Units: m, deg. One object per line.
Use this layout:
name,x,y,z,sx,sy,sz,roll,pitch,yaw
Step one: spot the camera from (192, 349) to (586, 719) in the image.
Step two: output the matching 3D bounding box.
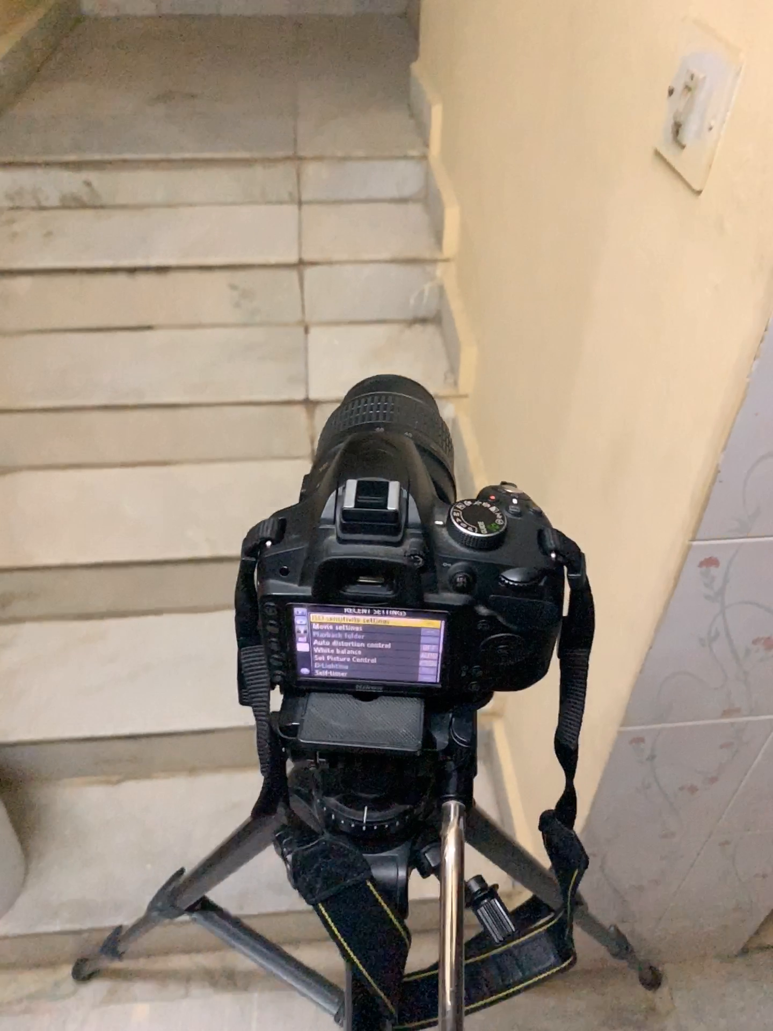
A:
camera,0.003,0.003,0.348,0.134,0.090,0.130,3,42,2
